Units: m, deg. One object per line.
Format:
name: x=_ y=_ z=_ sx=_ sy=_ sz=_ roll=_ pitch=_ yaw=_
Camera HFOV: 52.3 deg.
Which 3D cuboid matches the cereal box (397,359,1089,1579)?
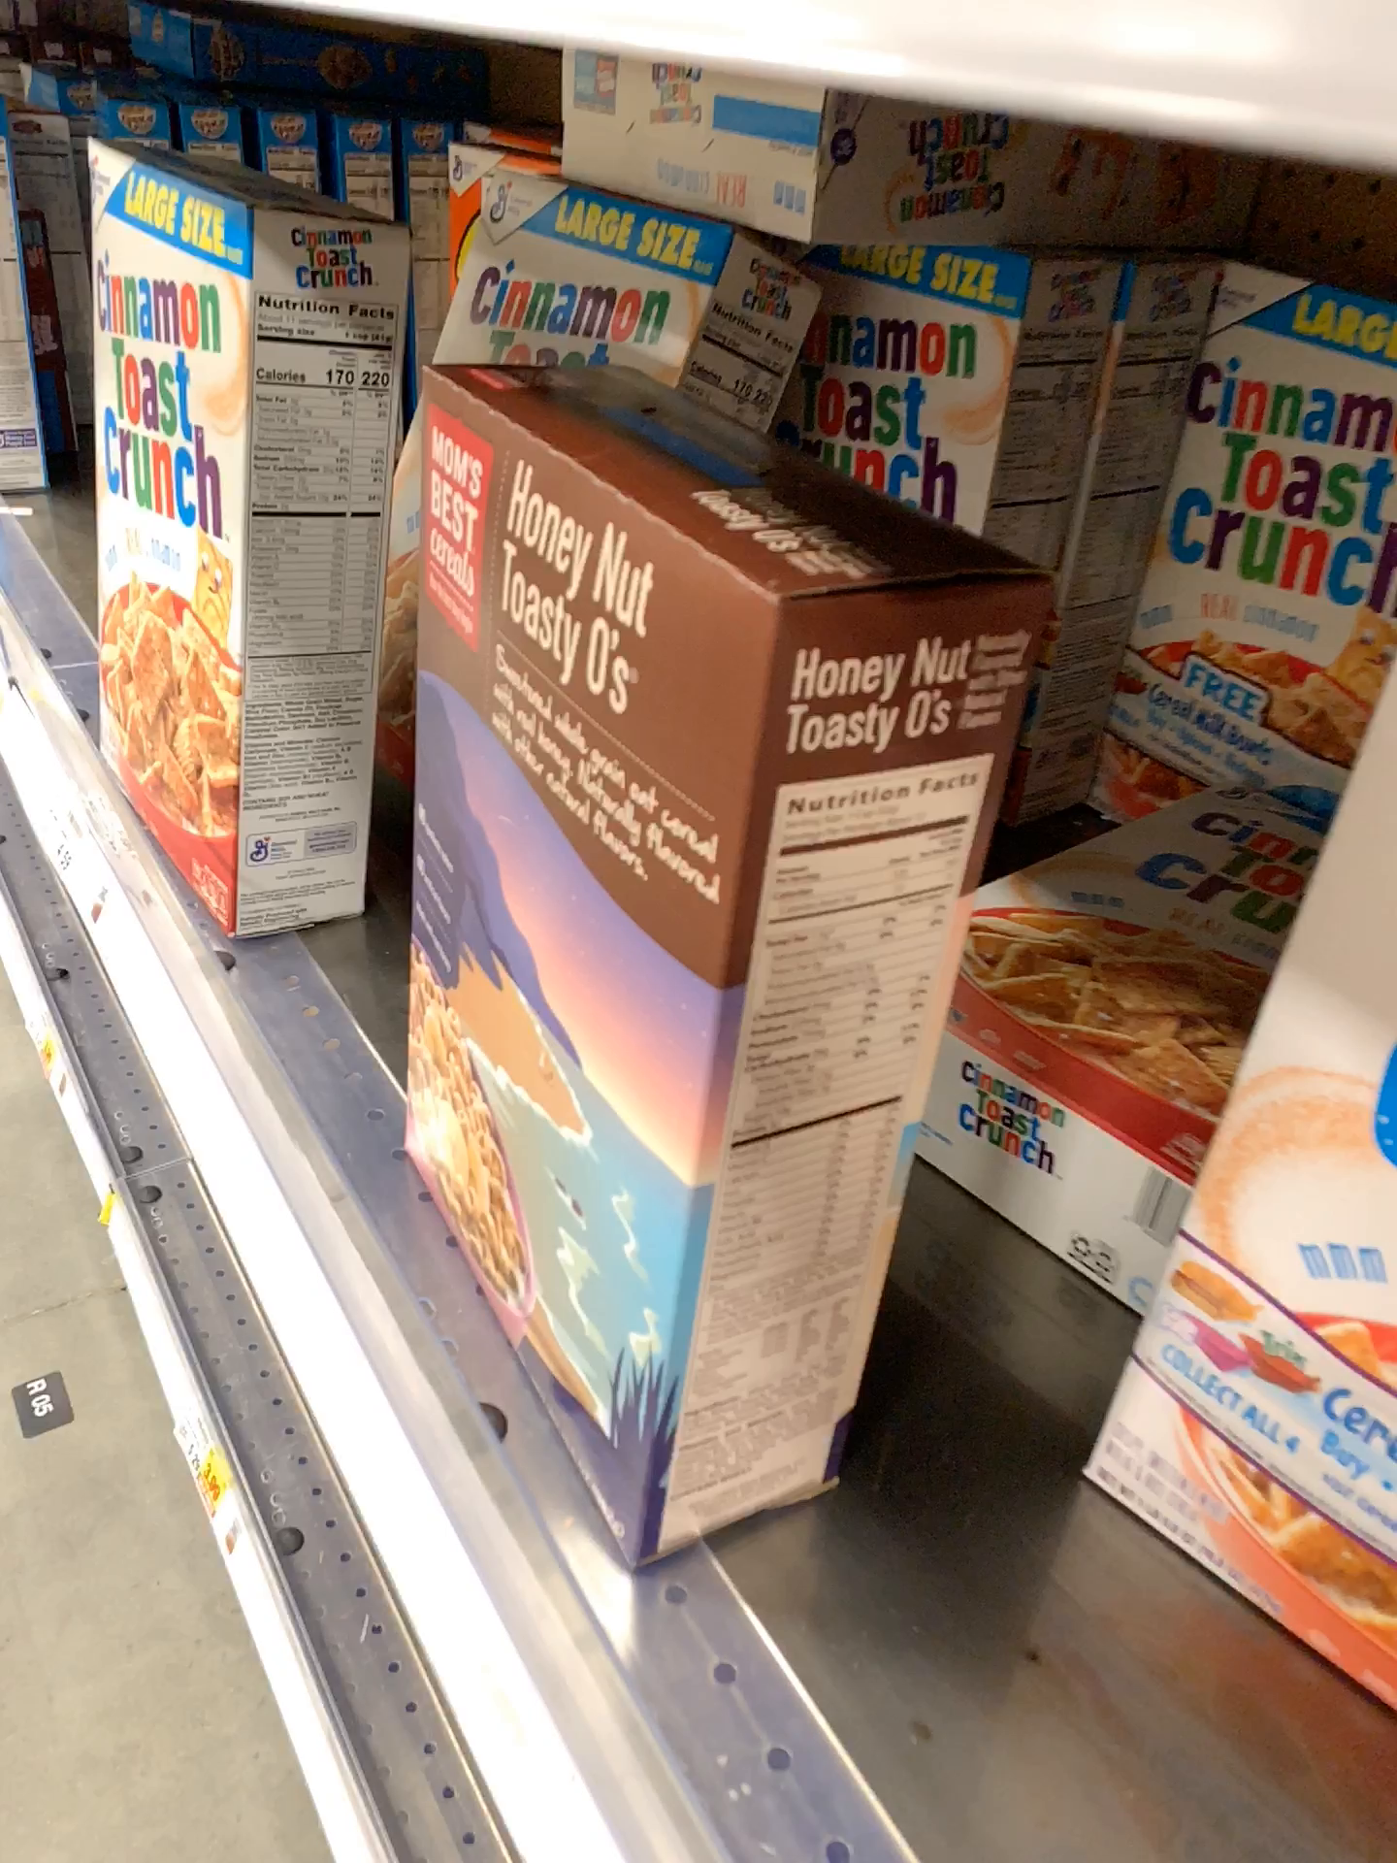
cereal box: x=-0.018 y=0.004 z=0.411 sx=0.070 sy=0.279 sz=0.201 roll=-11 pitch=36 yaw=-29
